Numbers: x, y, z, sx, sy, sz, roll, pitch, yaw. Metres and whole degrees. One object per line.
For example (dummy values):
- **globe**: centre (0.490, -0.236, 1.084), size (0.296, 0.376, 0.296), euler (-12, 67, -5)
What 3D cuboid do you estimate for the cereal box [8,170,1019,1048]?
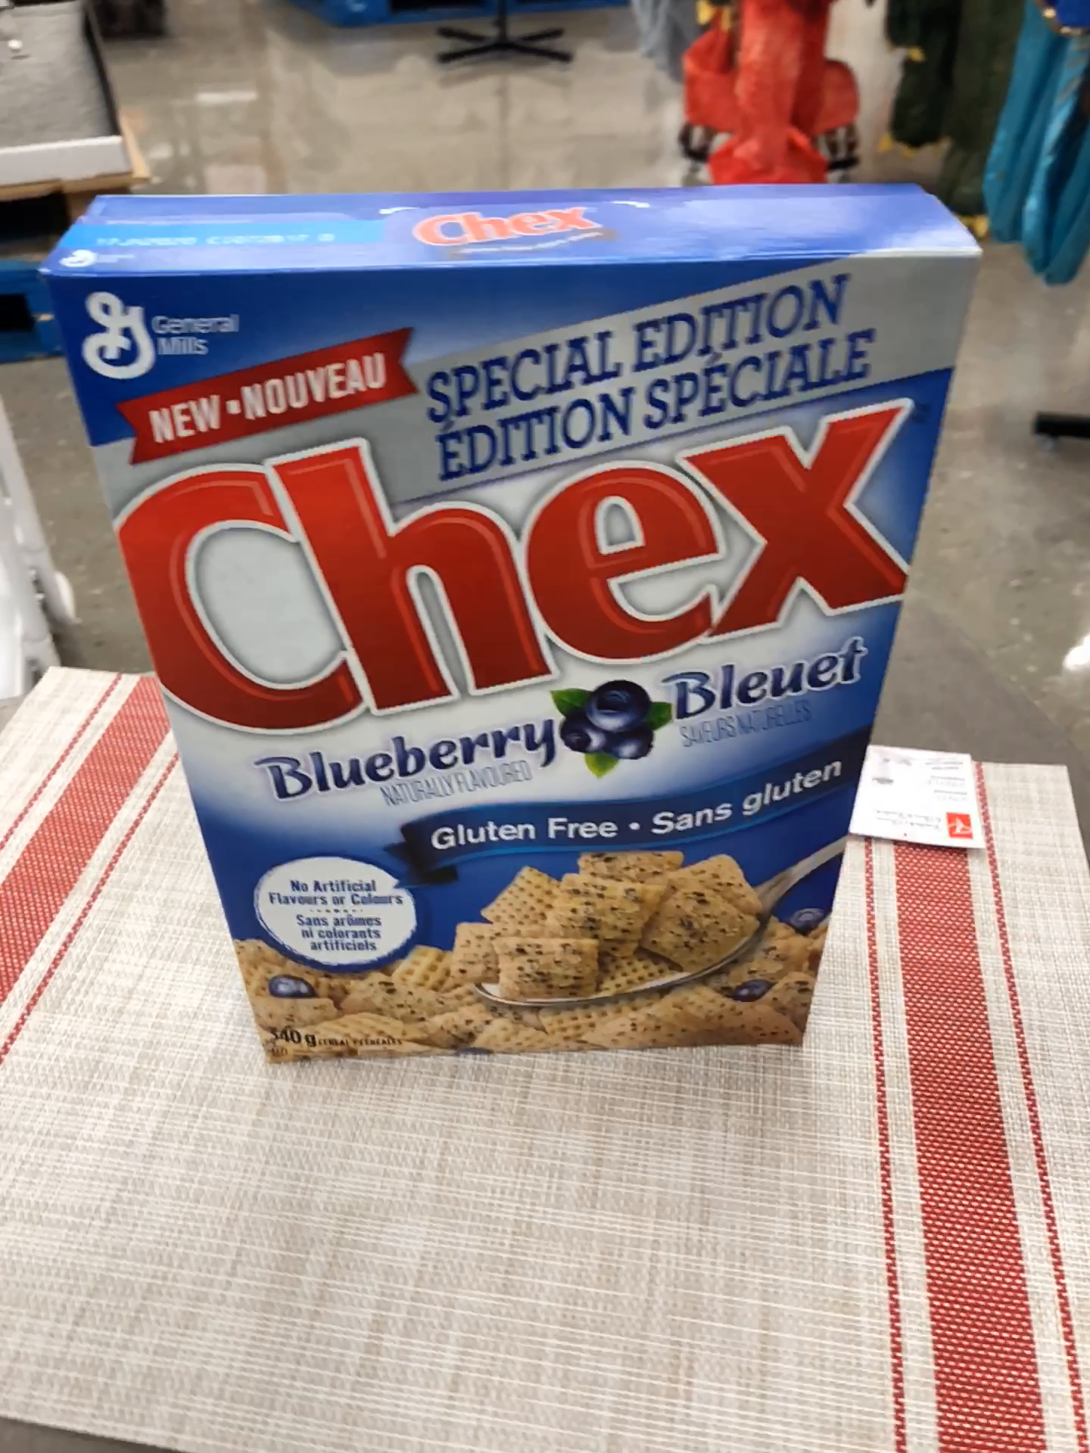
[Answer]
- **cereal box**: centre (-0.006, -0.011, 0.342), size (0.200, 0.259, 0.050), euler (-1, 40, -2)
